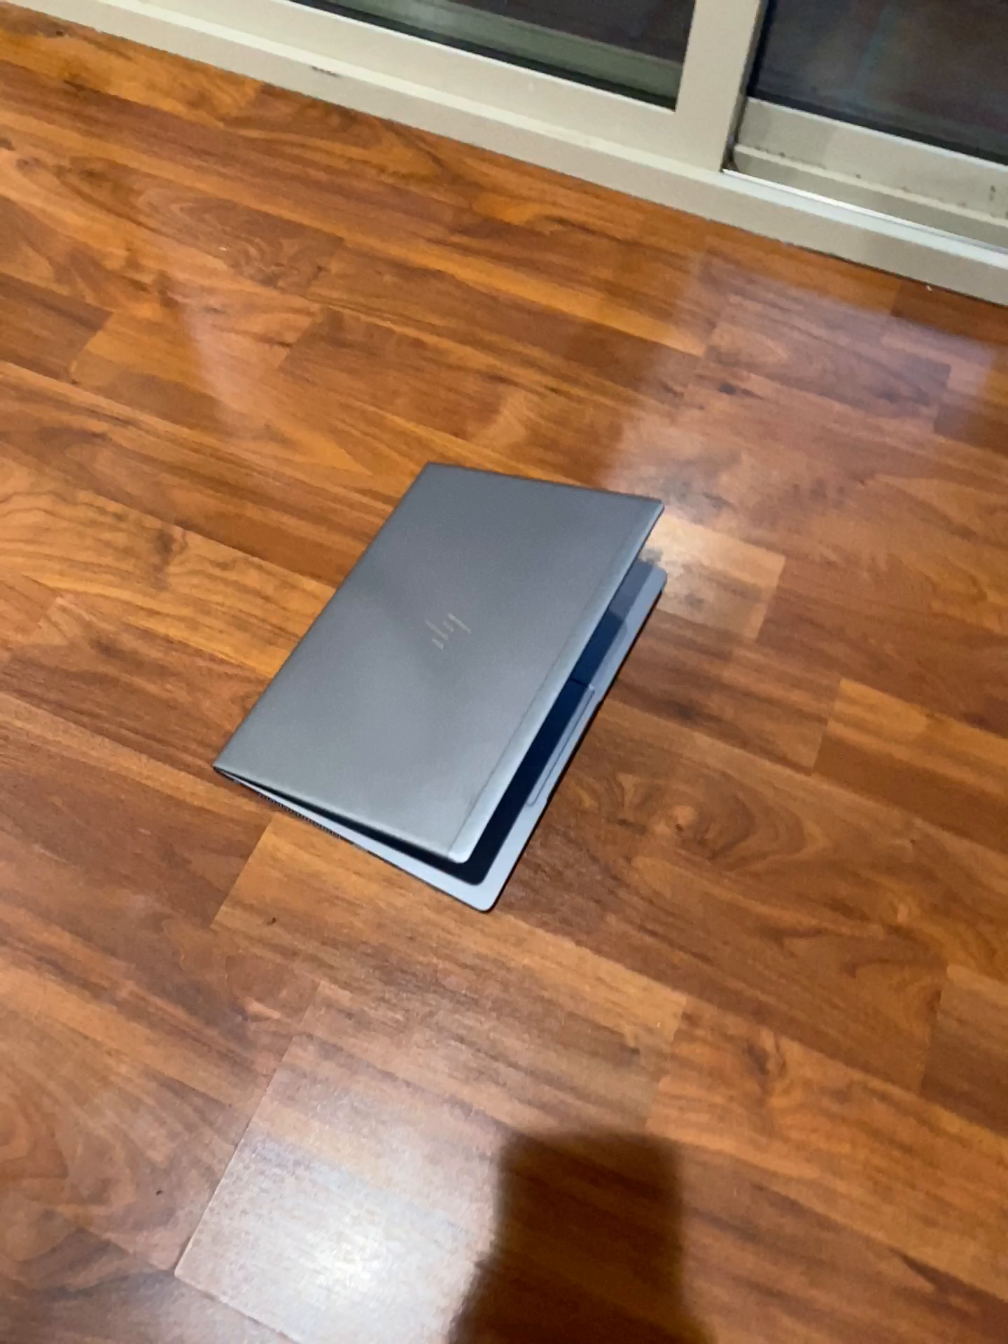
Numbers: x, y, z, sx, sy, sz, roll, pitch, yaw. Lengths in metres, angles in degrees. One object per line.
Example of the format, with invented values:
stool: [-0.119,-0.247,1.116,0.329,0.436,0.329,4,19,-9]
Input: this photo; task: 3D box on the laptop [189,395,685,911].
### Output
laptop: [-0.039,-0.027,0.775,0.230,0.078,0.325,26,65,10]
